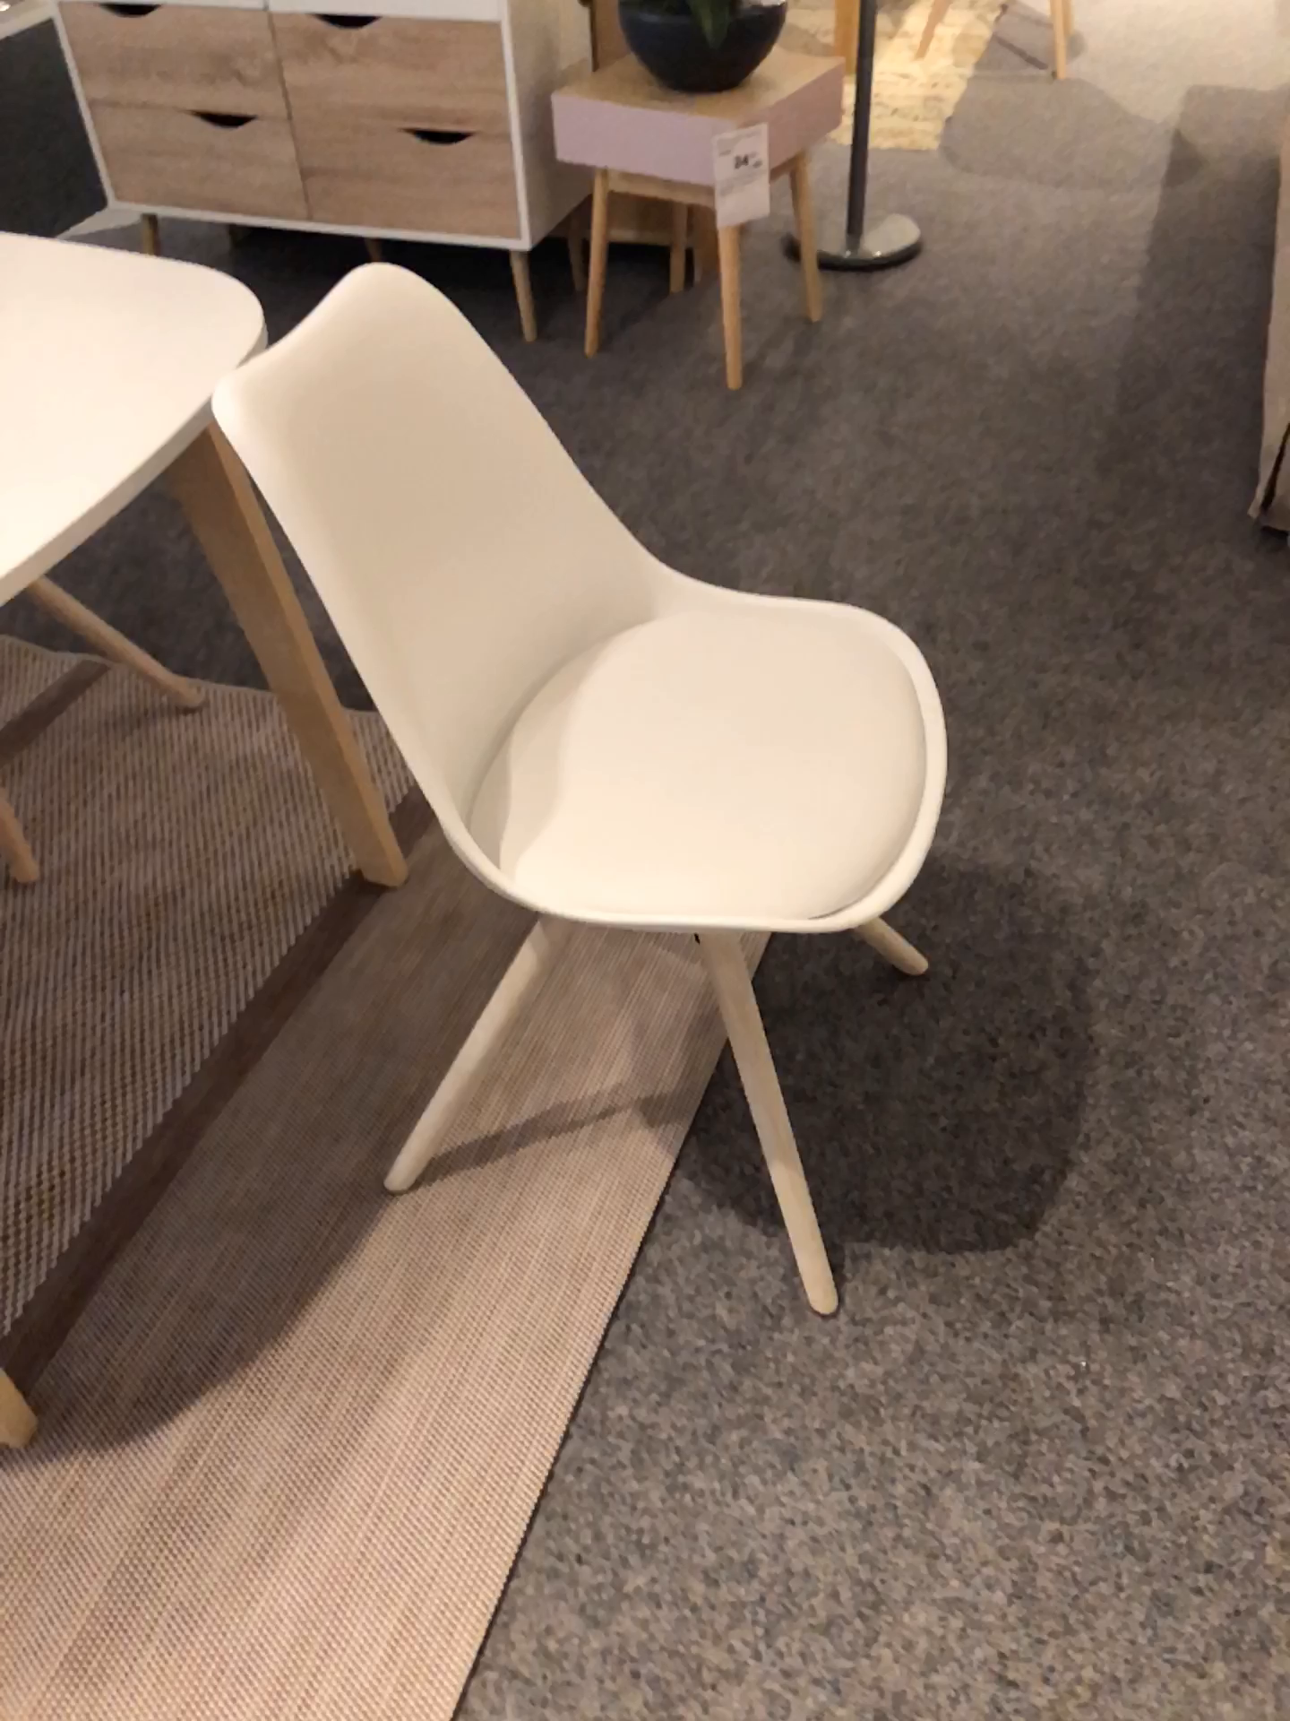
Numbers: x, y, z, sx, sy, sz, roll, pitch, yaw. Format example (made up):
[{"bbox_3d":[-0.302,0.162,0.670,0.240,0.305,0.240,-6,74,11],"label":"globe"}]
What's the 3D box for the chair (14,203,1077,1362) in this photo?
[{"bbox_3d":[-0.013,-0.072,1.257,0.590,0.756,0.553,12,45,15],"label":"chair"}]
